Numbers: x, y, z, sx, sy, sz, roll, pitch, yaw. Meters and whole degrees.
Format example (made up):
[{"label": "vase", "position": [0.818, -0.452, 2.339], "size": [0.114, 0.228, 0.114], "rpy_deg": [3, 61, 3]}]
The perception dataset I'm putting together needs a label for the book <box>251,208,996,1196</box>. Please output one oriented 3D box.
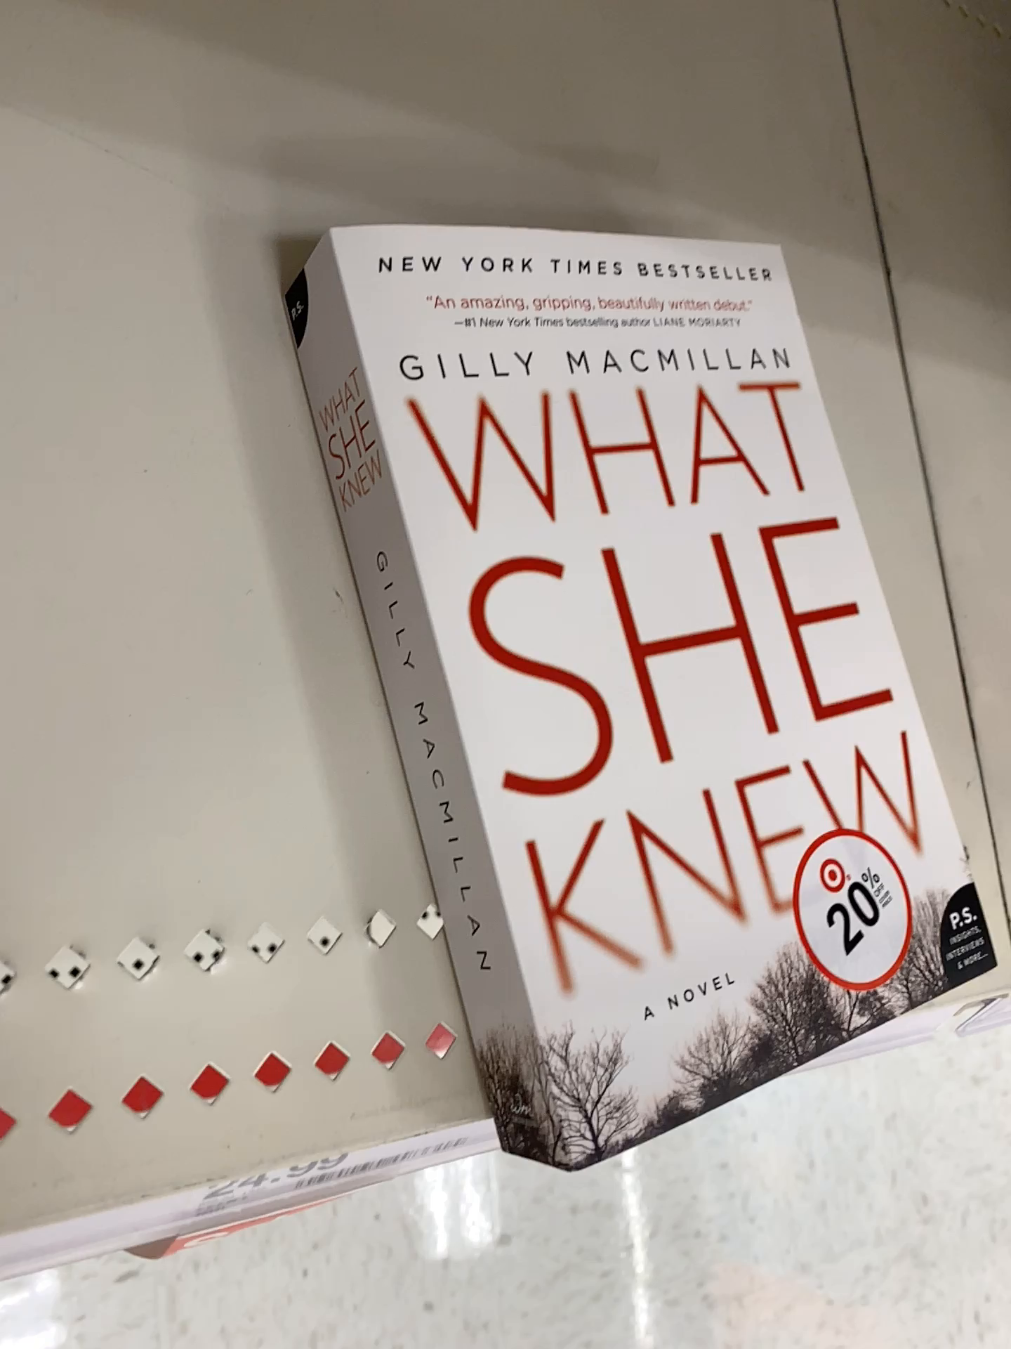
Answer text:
[{"label": "book", "position": [0.030, -0.006, 0.253], "size": [0.130, 0.041, 0.197], "rpy_deg": [-11, 83, -31]}]
